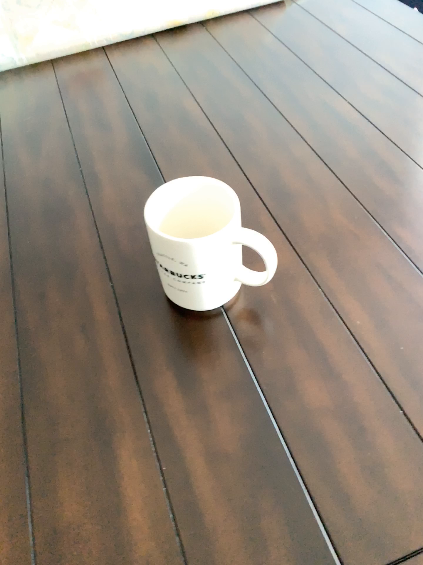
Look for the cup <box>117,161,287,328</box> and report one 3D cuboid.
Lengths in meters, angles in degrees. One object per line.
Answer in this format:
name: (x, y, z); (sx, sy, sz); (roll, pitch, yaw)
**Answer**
cup: (-0.004, -0.037, 0.434); (0.130, 0.110, 0.090); (14, 56, 14)
